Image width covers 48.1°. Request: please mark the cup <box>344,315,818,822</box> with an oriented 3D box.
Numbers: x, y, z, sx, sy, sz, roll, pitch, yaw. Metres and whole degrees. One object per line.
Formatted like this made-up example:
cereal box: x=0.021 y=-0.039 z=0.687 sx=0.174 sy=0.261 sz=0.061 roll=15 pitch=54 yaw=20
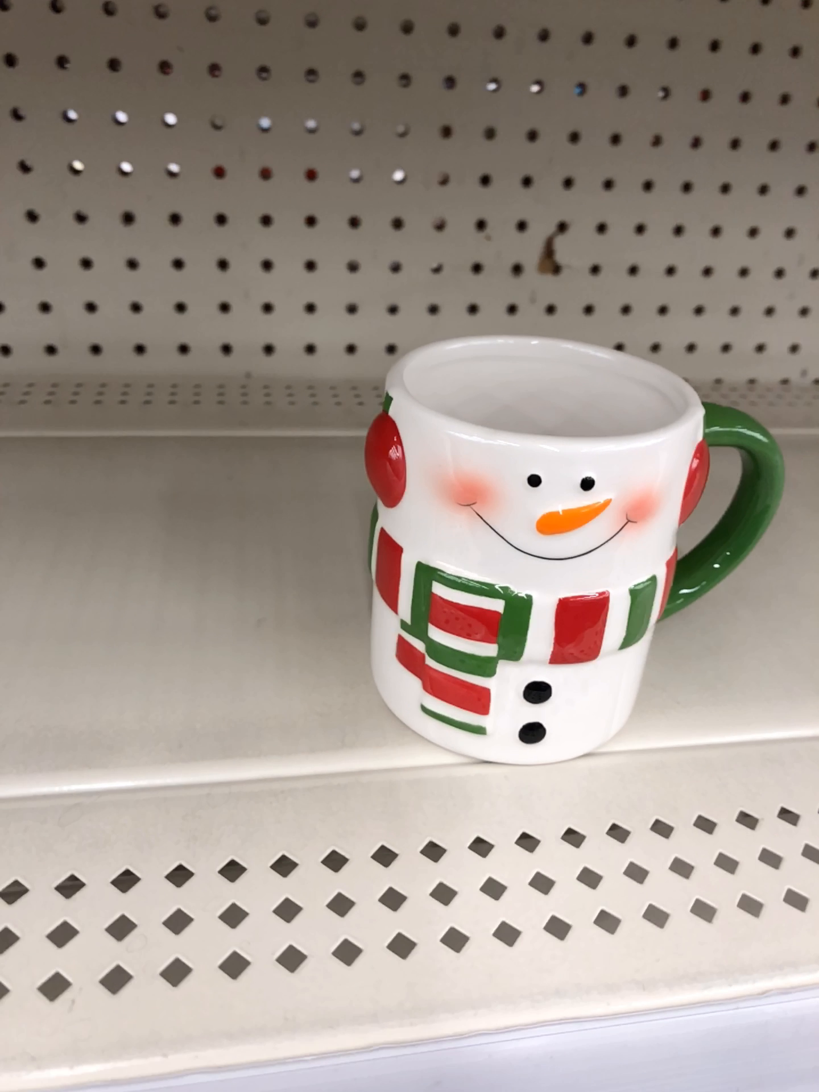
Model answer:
cup: x=0.055 y=-0.001 z=0.273 sx=0.130 sy=0.110 sz=0.090 roll=-4 pitch=31 yaw=-15
